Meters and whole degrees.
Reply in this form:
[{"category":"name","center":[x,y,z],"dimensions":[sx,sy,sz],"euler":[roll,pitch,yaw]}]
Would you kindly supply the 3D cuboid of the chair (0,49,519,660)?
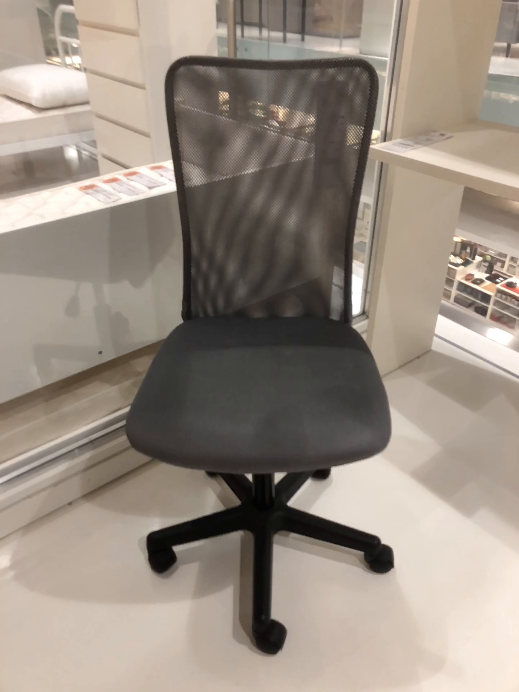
[{"category":"chair","center":[0.025,0.017,1.031],"dimensions":[0.580,0.932,0.605],"euler":[0,33,1]}]
